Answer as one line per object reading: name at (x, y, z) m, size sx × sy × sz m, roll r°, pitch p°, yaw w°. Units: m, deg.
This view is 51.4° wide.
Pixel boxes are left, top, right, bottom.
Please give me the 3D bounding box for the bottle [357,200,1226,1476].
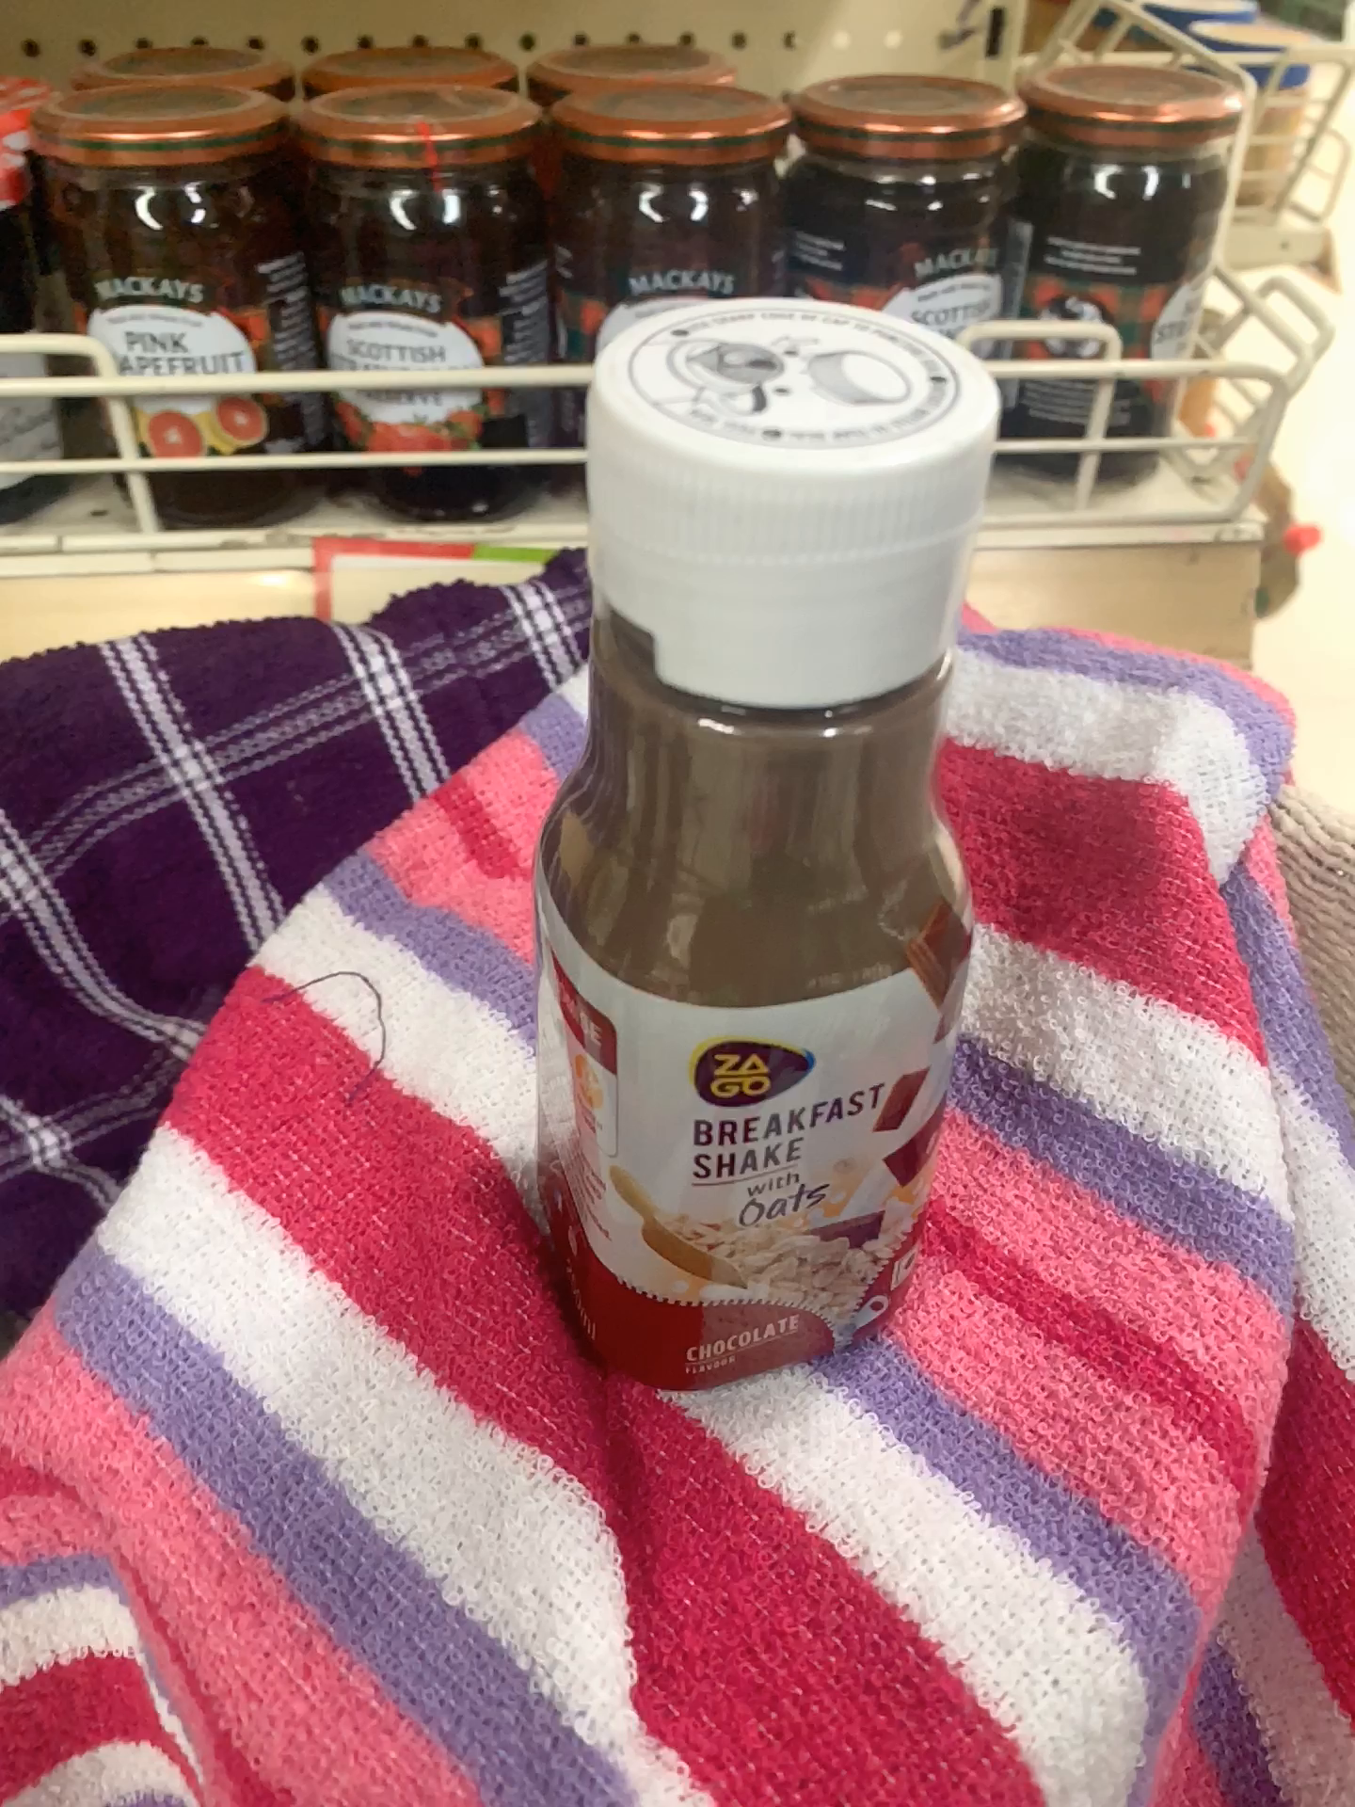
bottle at (0.006, 0.001, 0.166) m, size 0.060 × 0.139 × 0.050 m, roll -12°, pitch 43°, yaw -15°
